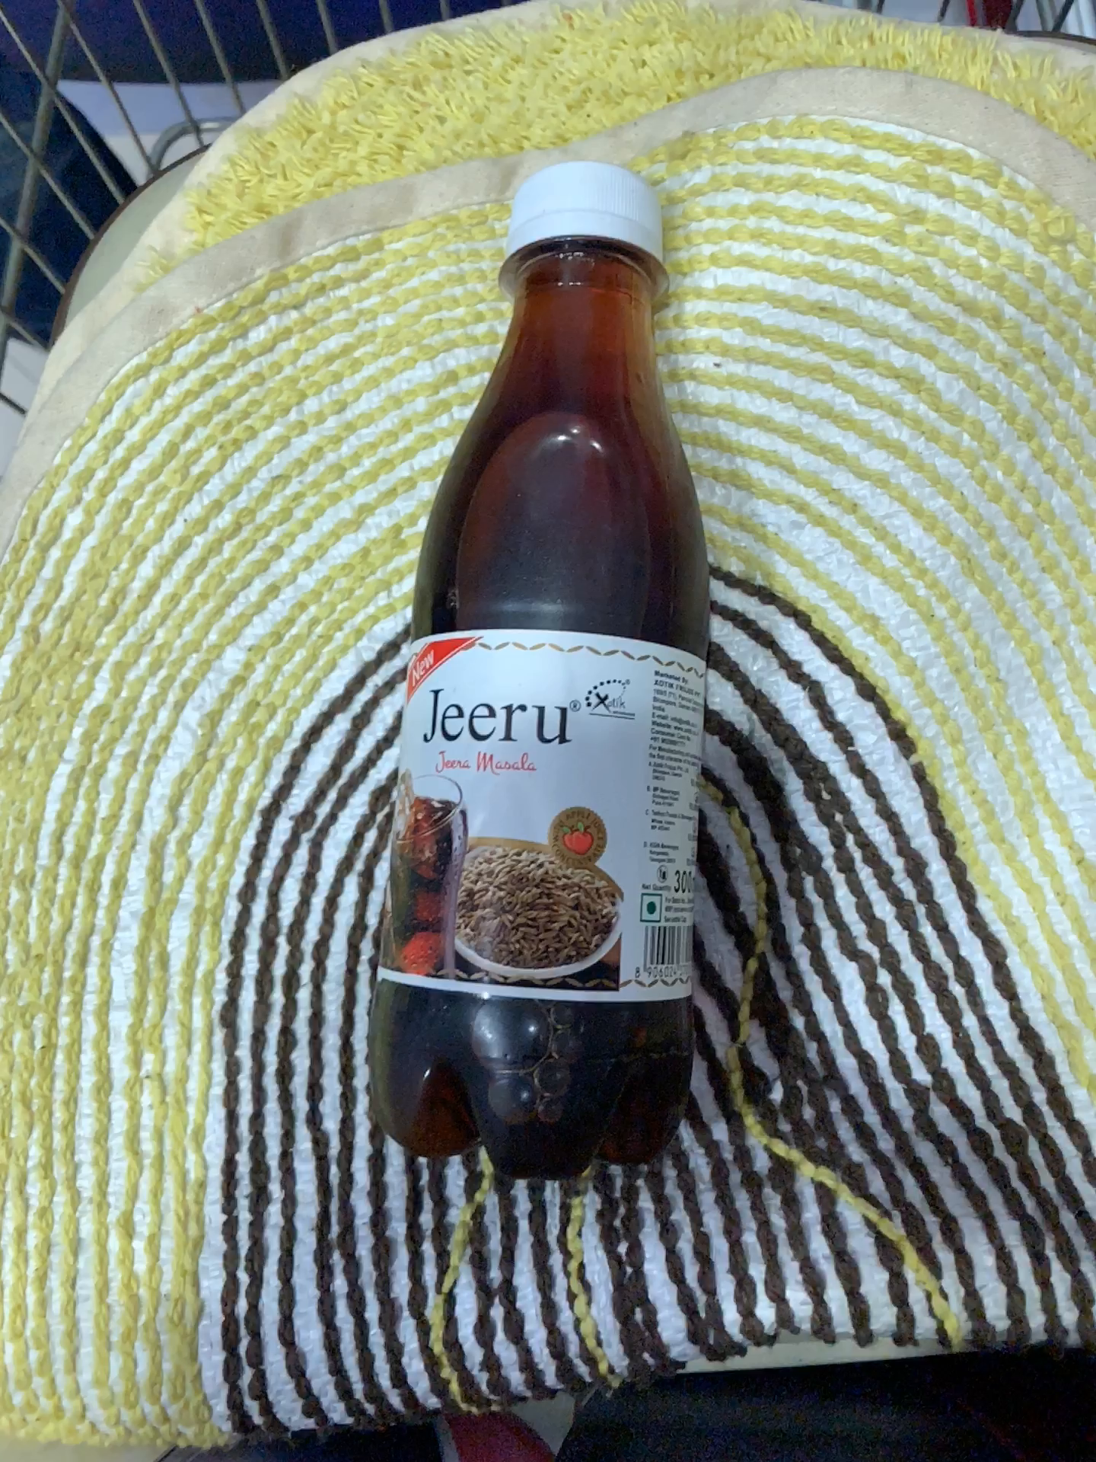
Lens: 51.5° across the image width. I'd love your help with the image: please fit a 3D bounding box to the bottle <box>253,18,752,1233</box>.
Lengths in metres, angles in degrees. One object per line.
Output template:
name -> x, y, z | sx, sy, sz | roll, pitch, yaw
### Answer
bottle -> -0.001, -0.018, 0.201 | 0.060, 0.060, 0.180 | 2, 83, 15
